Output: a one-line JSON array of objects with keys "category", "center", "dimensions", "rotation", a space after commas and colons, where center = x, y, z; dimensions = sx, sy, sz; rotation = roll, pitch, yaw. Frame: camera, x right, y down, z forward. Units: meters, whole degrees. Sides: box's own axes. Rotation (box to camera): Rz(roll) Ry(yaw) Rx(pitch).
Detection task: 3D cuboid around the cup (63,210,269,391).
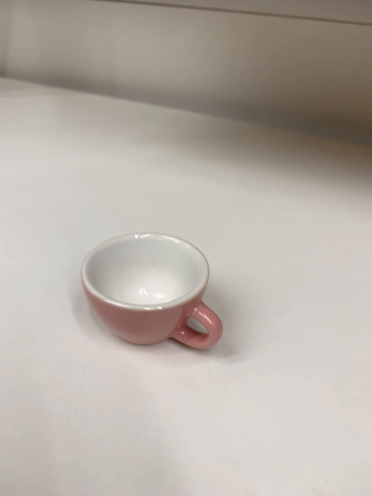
[{"category": "cup", "center": [-0.008, 0.018, 0.165], "dimensions": [0.070, 0.040, 0.040], "rotation": [17, 36, 19]}]
